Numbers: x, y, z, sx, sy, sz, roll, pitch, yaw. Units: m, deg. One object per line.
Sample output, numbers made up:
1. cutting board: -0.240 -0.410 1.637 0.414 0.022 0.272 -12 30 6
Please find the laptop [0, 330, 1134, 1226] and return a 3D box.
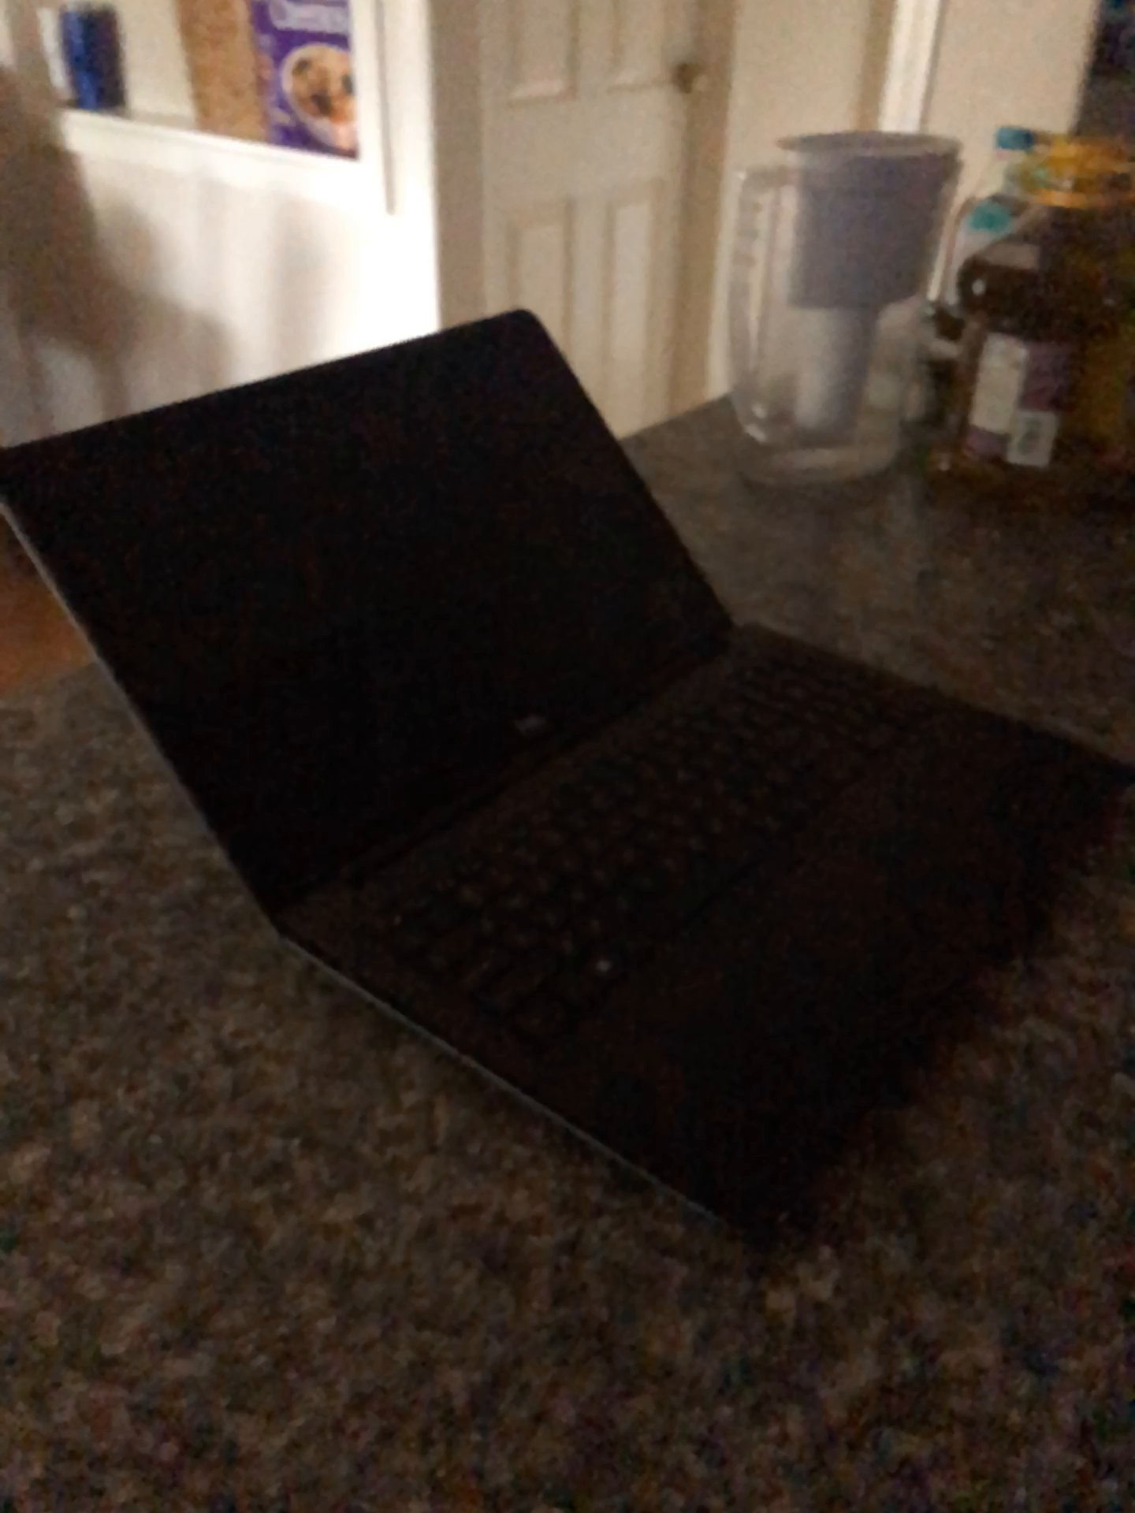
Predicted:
1. laptop: 0.014 -0.056 0.610 0.415 0.158 0.362 25 40 32
